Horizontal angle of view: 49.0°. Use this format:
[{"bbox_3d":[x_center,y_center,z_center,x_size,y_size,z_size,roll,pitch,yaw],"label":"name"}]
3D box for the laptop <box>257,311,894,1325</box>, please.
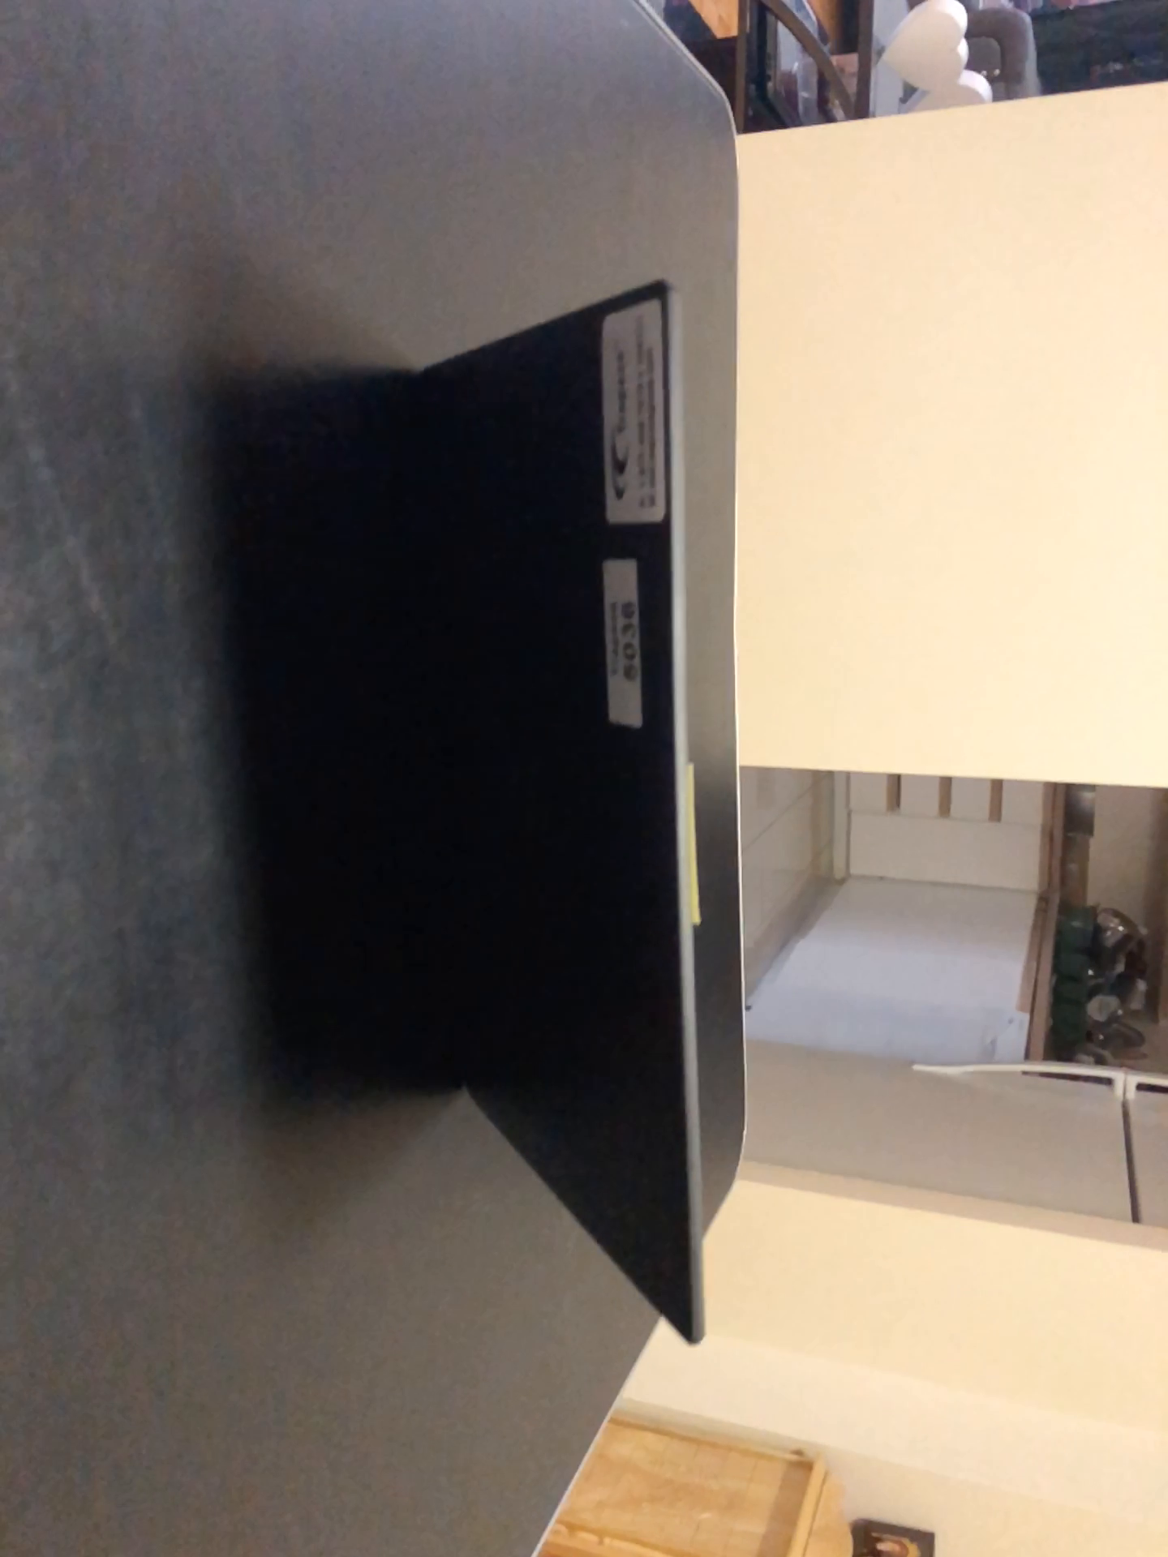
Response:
[{"bbox_3d":[0.037,-0.016,0.584,0.369,0.140,0.319,-28,118,-65],"label":"laptop"}]
